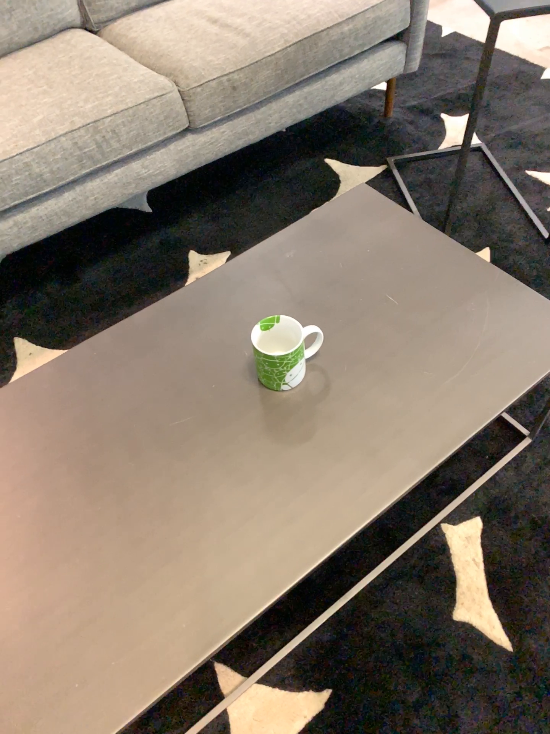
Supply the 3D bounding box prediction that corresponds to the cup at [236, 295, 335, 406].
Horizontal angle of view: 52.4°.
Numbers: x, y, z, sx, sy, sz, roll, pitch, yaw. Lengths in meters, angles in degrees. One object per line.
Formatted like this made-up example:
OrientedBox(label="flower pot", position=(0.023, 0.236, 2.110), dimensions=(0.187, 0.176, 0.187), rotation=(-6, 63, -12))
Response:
OrientedBox(label="cup", position=(0.019, -0.026, 0.874), dimensions=(0.120, 0.090, 0.090), rotation=(-39, 59, -22))
